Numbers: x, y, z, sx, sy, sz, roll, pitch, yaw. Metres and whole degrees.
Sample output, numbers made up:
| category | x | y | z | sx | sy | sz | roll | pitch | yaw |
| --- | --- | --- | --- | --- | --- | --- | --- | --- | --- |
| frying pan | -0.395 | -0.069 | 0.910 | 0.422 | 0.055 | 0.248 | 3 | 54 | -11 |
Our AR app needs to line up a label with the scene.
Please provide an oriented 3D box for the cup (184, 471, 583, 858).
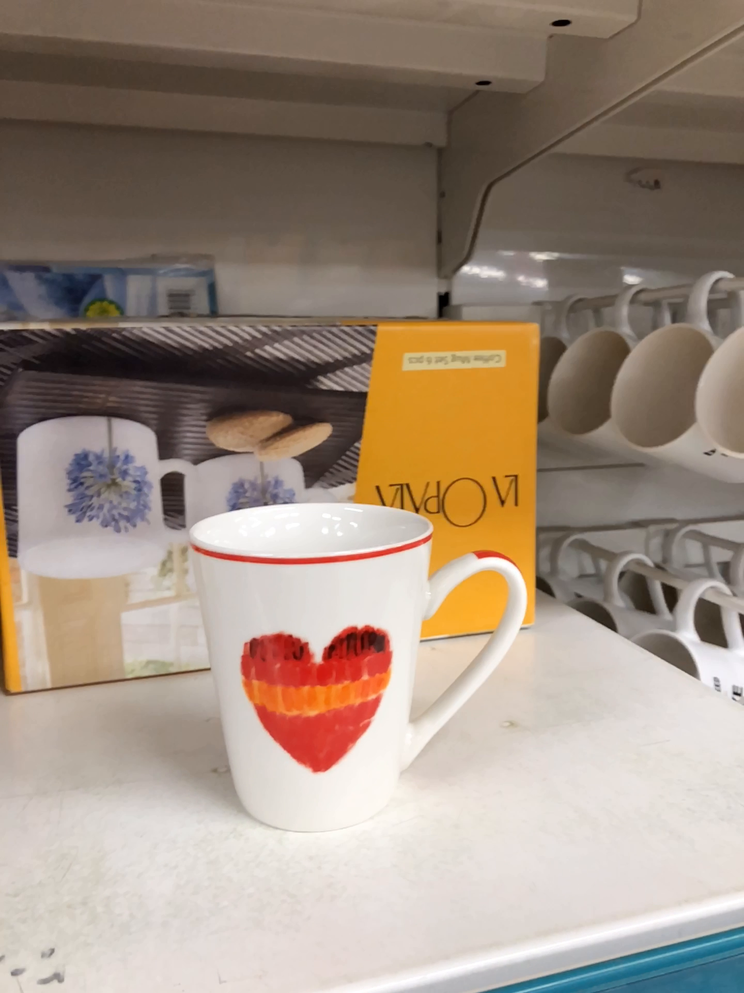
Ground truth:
| category | x | y | z | sx | sy | sz | roll | pitch | yaw |
| --- | --- | --- | --- | --- | --- | --- | --- | --- | --- |
| cup | -0.002 | 0.048 | 0.288 | 0.120 | 0.100 | 0.080 | -2 | 10 | -12 |
